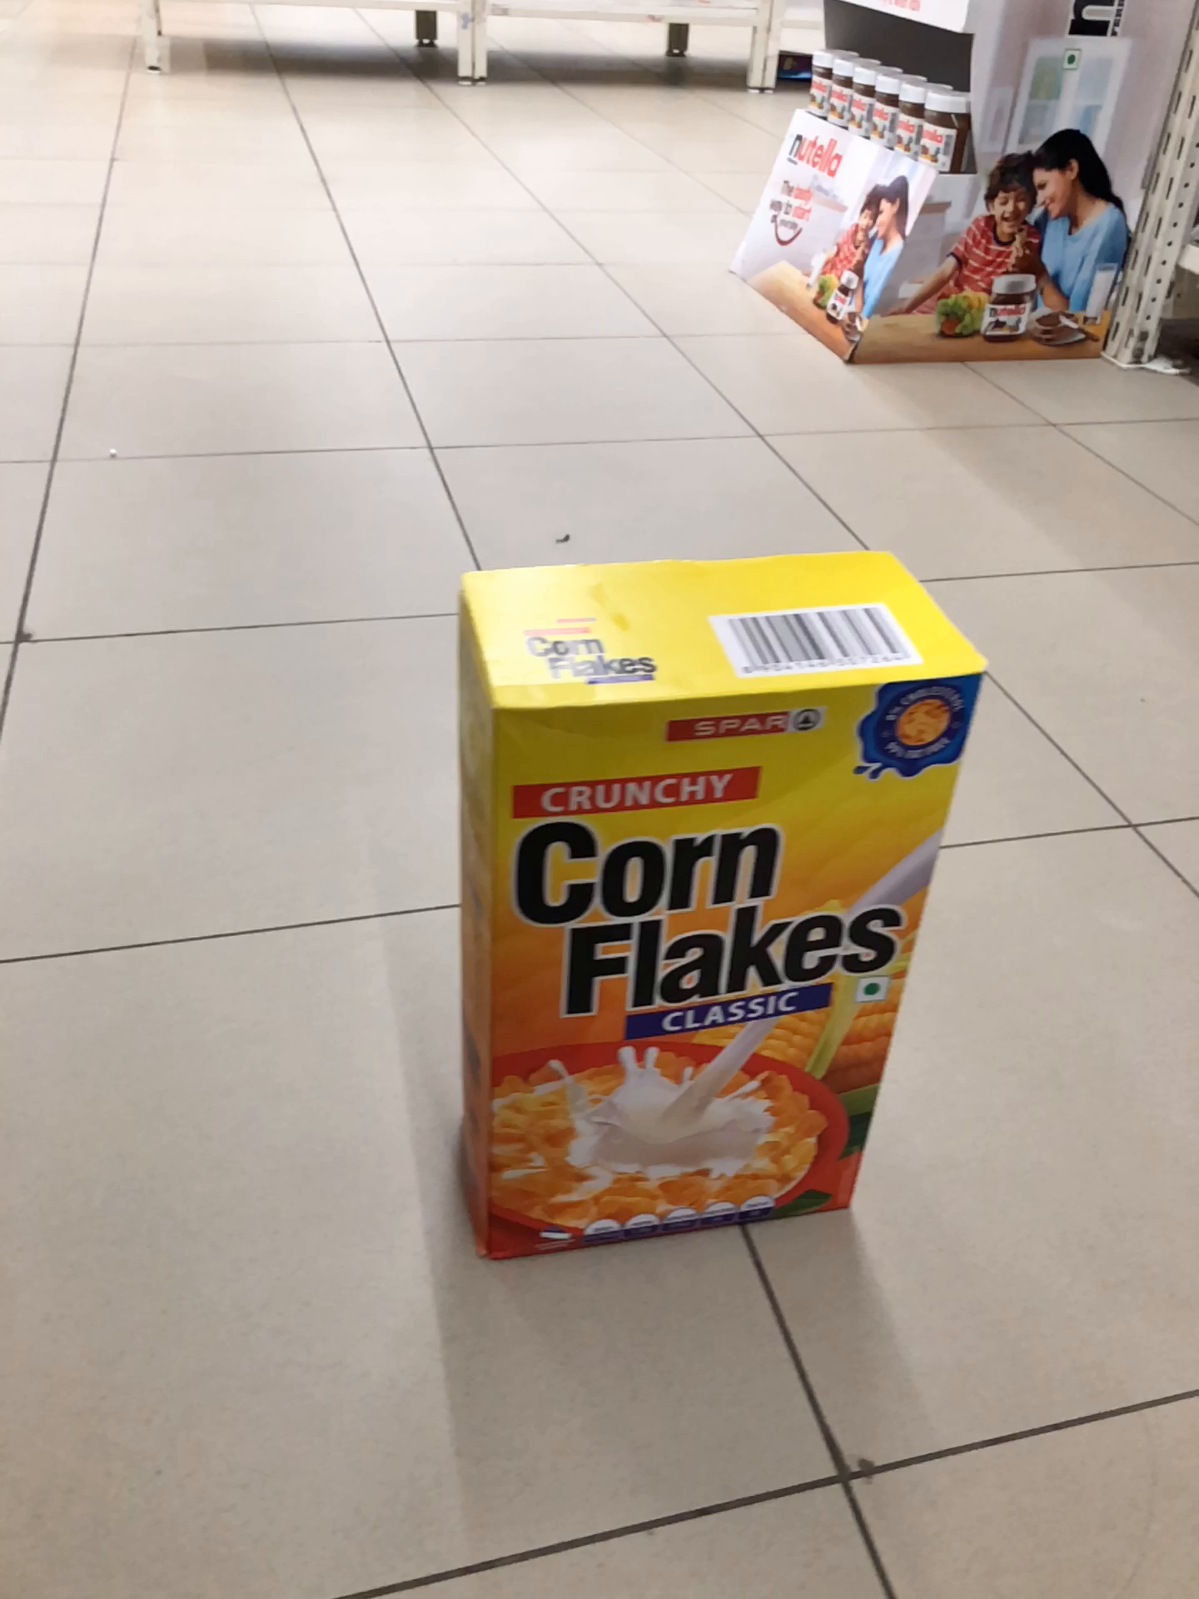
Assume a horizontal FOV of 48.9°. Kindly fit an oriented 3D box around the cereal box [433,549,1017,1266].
[{"bbox_3d":[0.036,0.054,0.582,0.200,0.298,0.101,-5,36,-13],"label":"cereal box"}]
